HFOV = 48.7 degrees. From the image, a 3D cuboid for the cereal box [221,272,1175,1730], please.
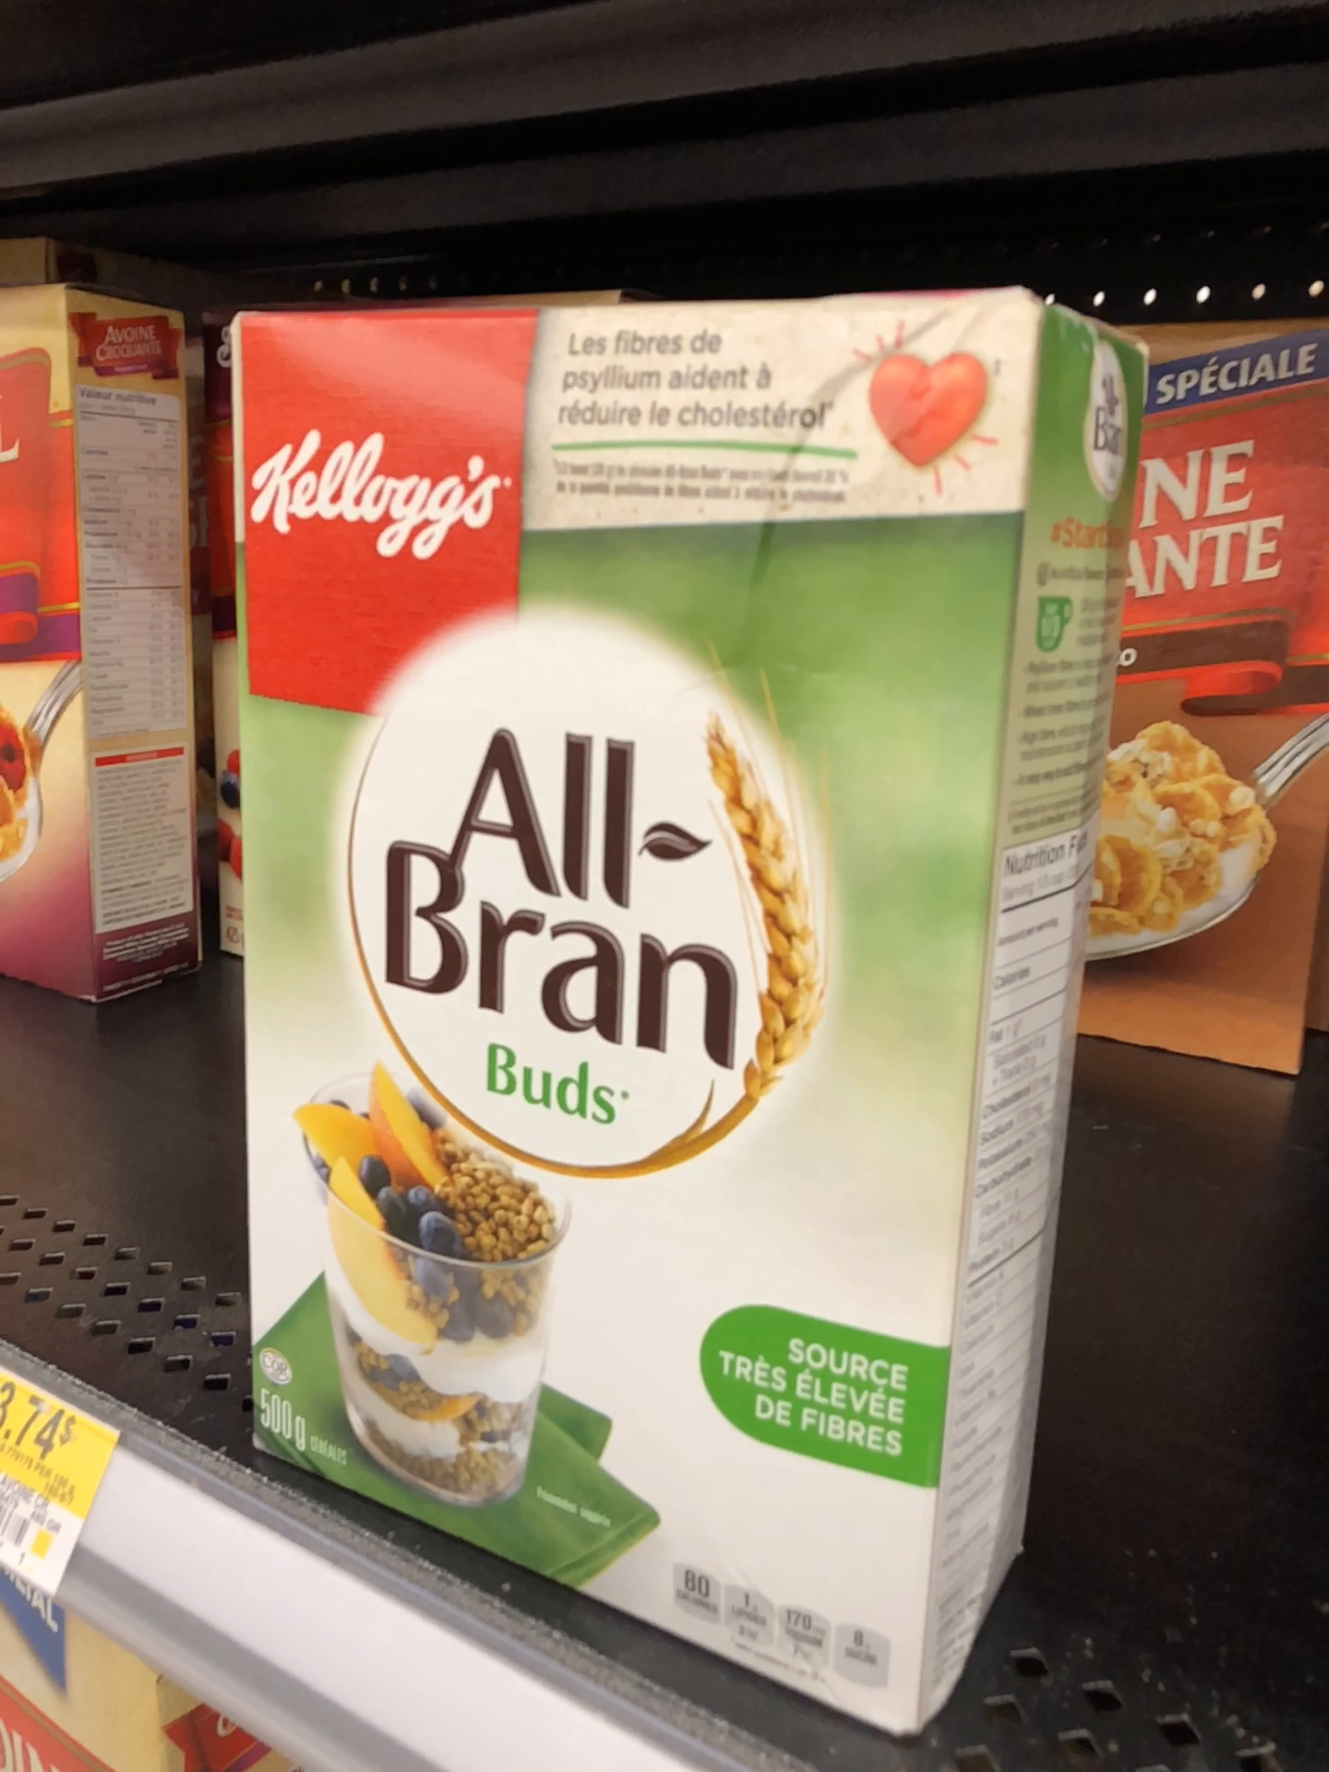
[{"bbox_3d":[-0.002,0.013,0.266,0.150,0.219,0.050,9,16,28],"label":"cereal box"}]
